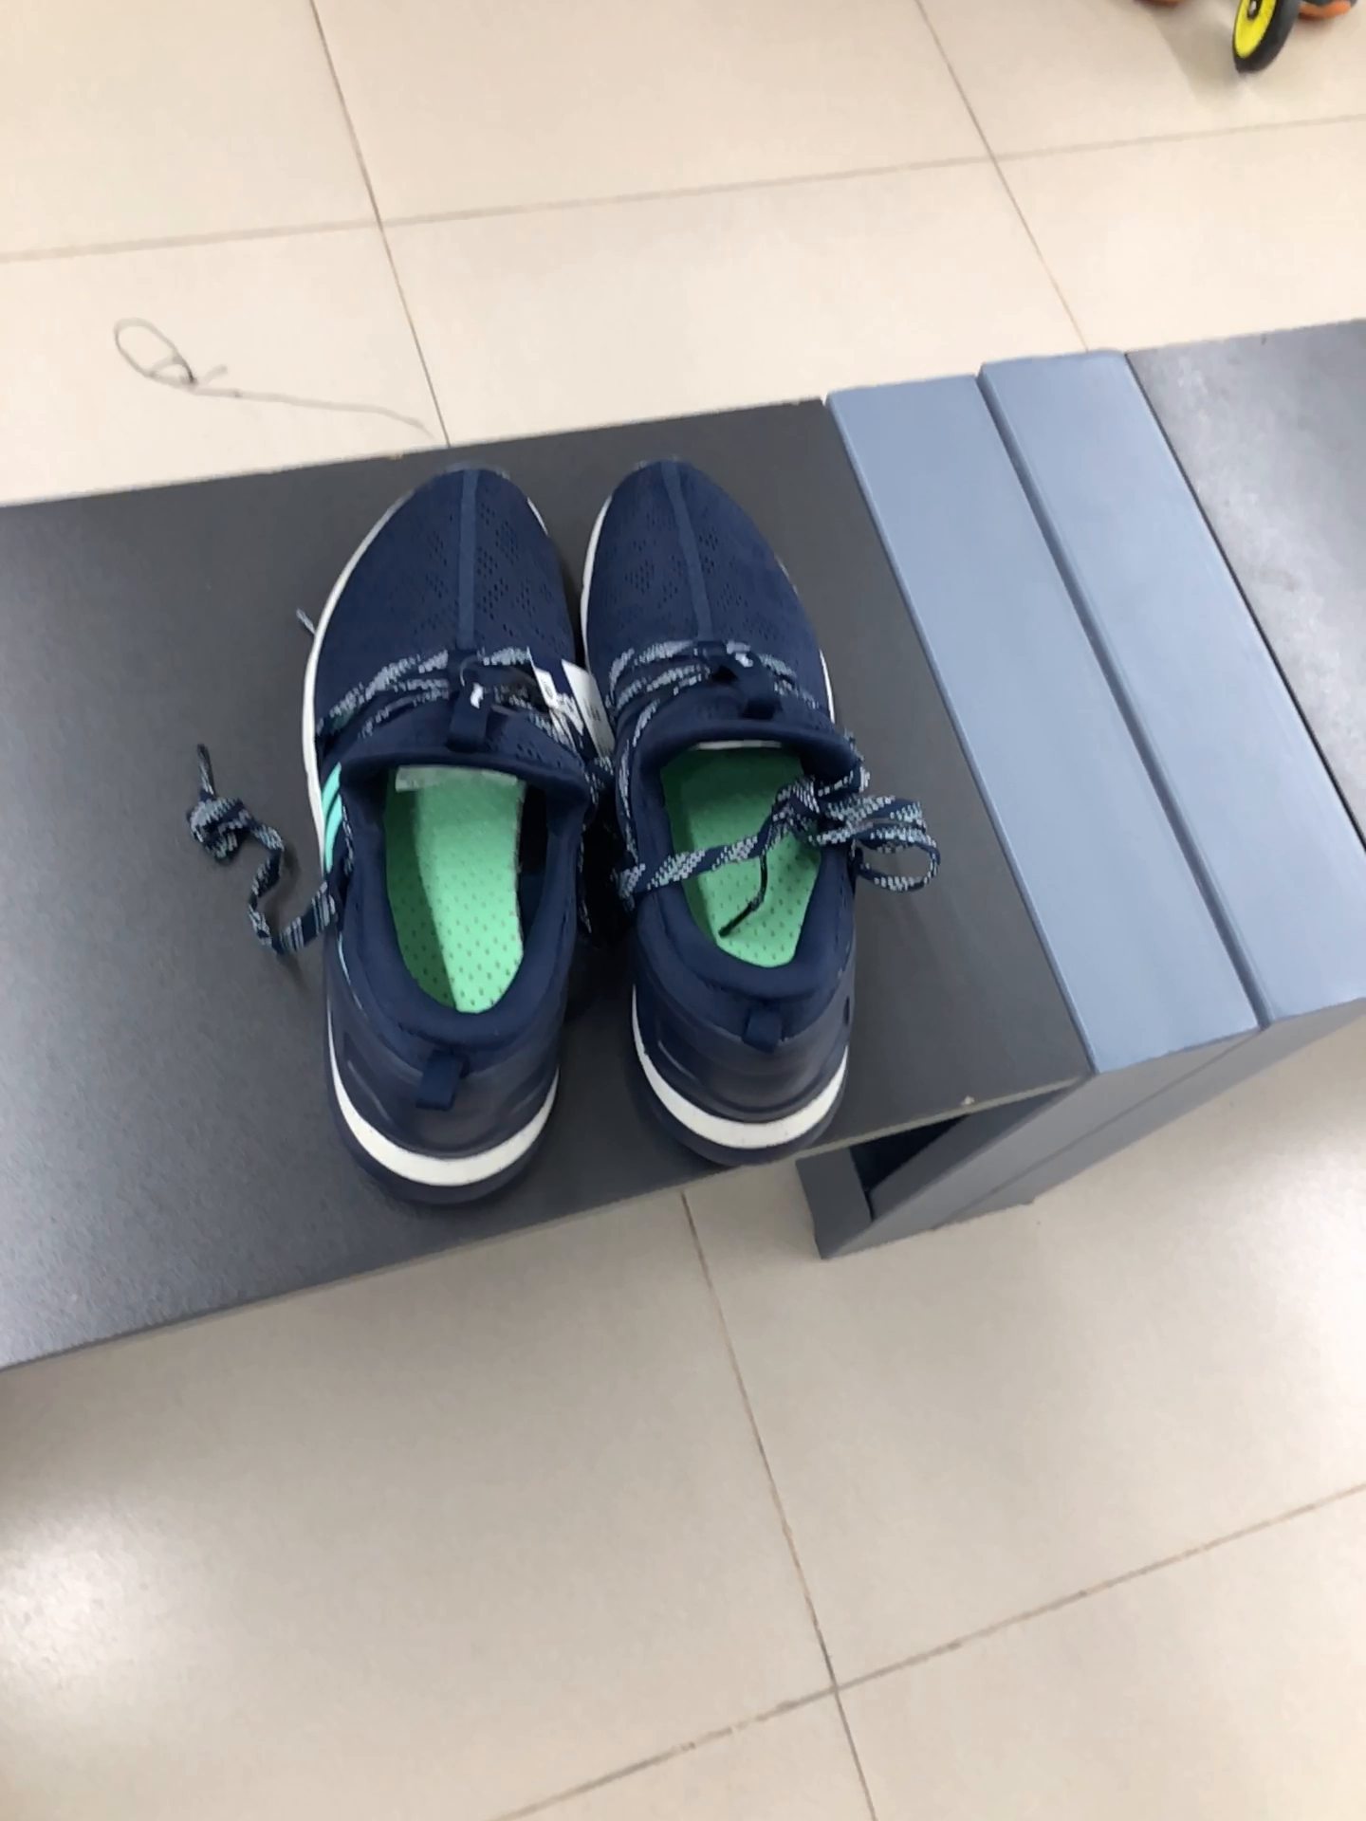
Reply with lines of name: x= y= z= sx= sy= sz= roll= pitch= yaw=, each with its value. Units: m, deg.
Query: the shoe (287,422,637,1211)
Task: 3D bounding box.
shoe: x=-0.085 y=-0.033 z=0.539 sx=0.100 sy=0.120 sz=0.251 roll=-2 pitch=68 yaw=-11

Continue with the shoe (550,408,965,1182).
shoe: x=0.015 y=-0.041 z=0.550 sx=0.100 sy=0.120 sz=0.251 roll=-2 pitch=68 yaw=-11
